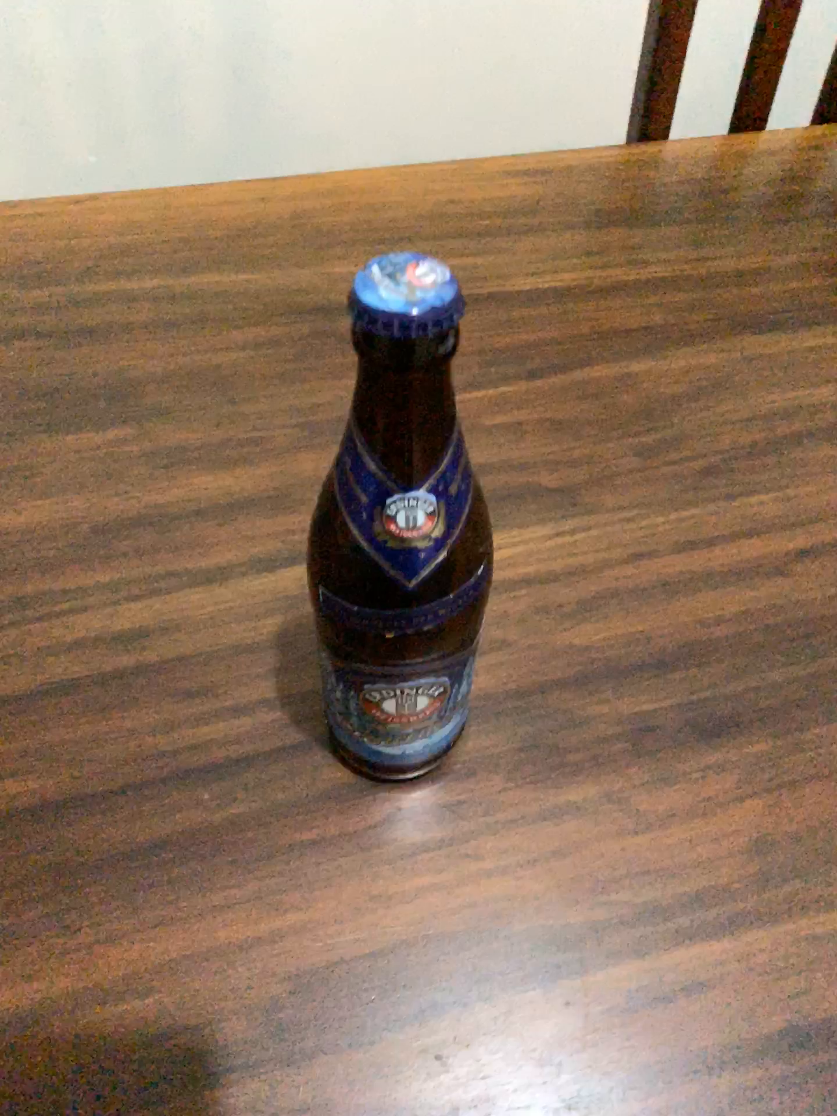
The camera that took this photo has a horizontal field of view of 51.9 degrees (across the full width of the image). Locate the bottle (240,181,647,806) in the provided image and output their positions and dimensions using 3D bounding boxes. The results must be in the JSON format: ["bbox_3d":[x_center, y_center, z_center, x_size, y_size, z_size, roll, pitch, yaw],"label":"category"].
[{"bbox_3d":[-0.002,0.006,0.301,0.080,0.249,0.070,-9,57,-8],"label":"bottle"}]
